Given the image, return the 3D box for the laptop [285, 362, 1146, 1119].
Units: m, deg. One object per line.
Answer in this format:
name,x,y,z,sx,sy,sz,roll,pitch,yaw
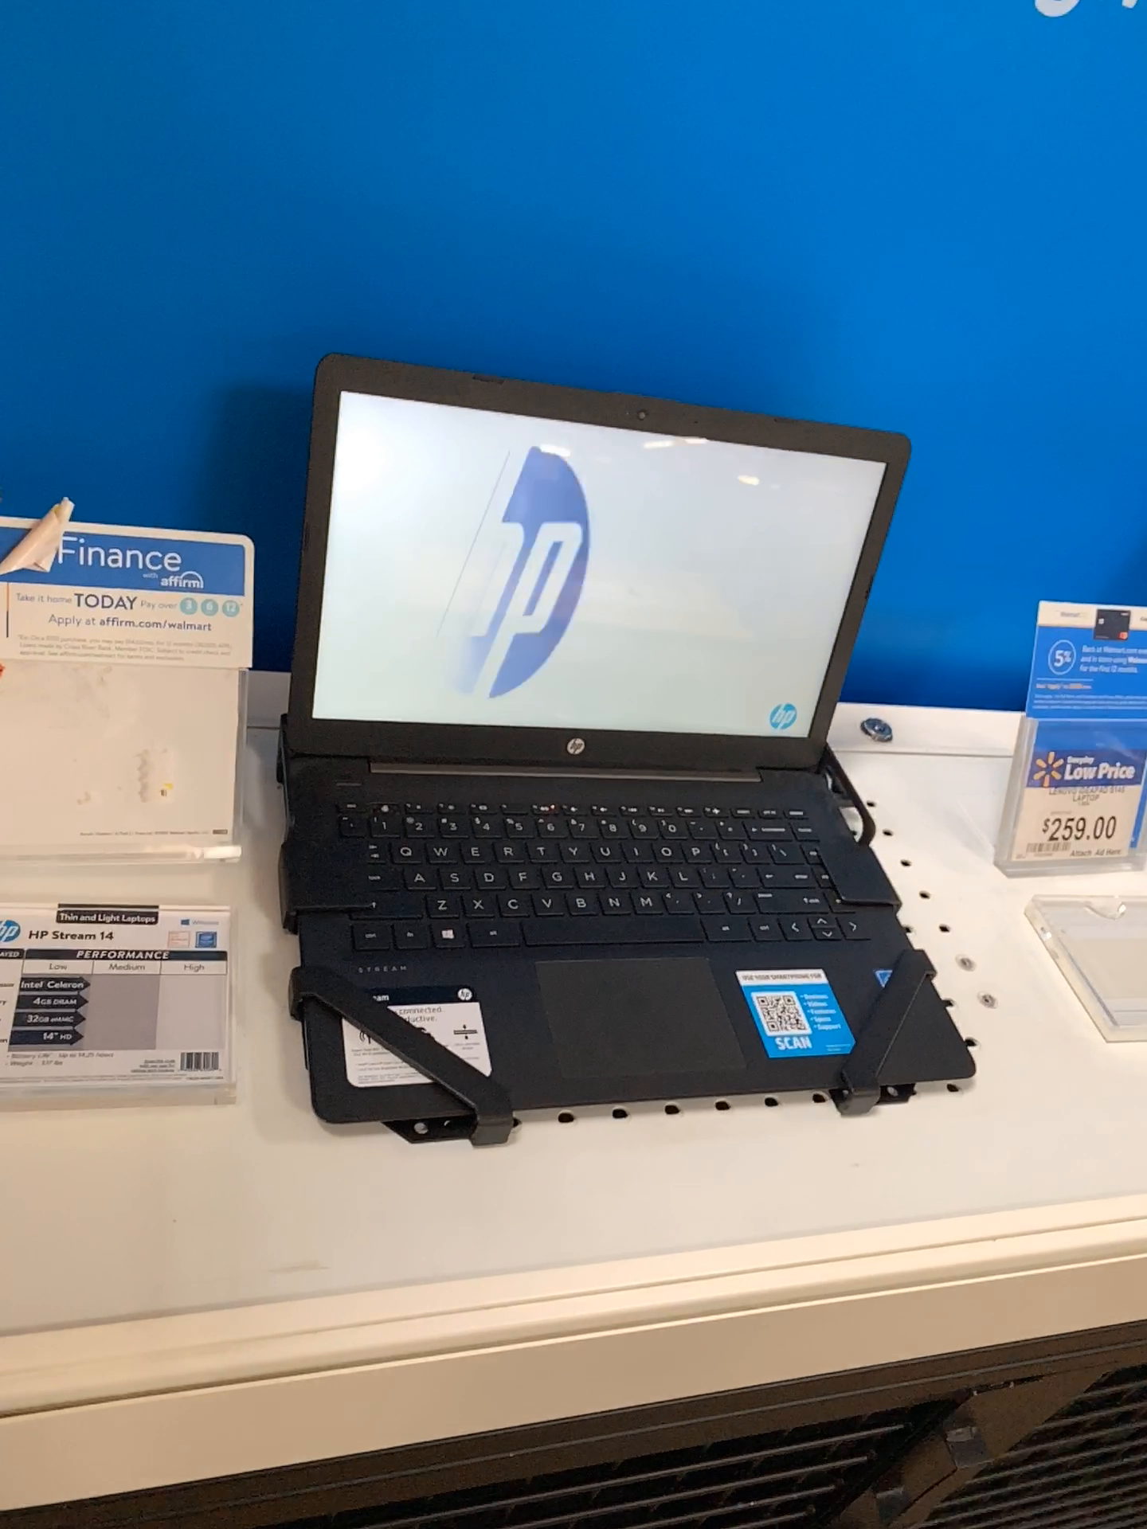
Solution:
laptop,0.045,-0.017,0.570,0.326,0.203,0.270,1,42,-20
